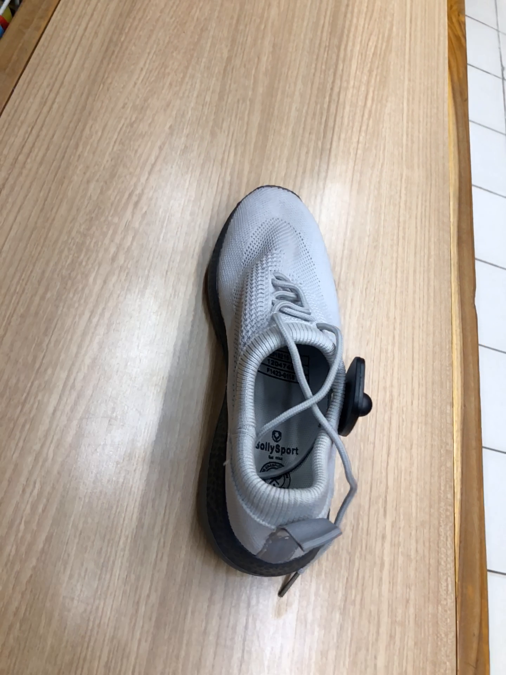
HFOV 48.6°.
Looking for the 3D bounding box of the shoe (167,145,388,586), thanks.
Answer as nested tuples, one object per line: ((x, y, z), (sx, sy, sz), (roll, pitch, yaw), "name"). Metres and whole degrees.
((0.016, 0.018, 0.383), (0.100, 0.099, 0.271), (11, 63, -14), "shoe")
